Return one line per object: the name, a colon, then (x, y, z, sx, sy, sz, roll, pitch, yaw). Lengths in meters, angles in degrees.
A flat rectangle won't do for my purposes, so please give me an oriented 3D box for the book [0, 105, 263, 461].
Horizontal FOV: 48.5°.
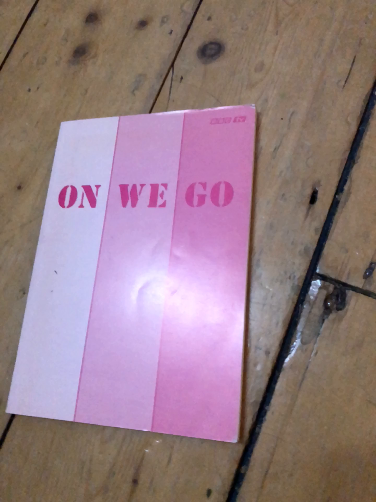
book: (-0.035, 0.009, 0.285, 0.160, 0.020, 0.220, 0, 74, 16)
